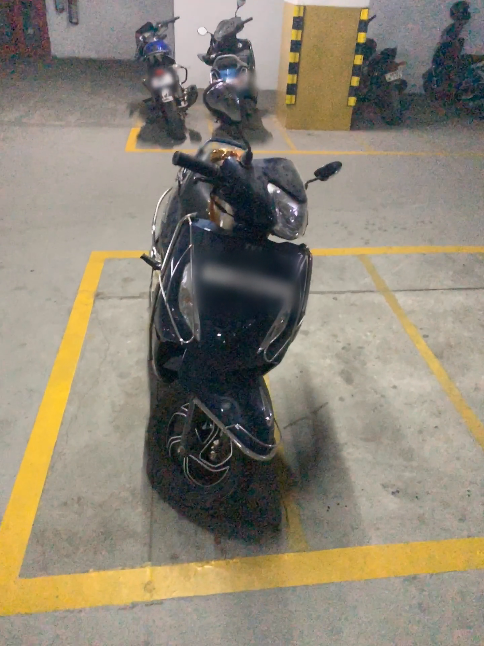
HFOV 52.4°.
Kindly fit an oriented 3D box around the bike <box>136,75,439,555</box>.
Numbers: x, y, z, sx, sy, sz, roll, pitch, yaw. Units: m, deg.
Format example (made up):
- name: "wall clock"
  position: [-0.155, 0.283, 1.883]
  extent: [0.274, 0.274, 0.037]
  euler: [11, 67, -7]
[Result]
- name: "bike"
  position: [-0.038, -0.224, 2.038]
  extent: [0.664, 1.028, 1.702]
  euler: [-4, 39, -11]
